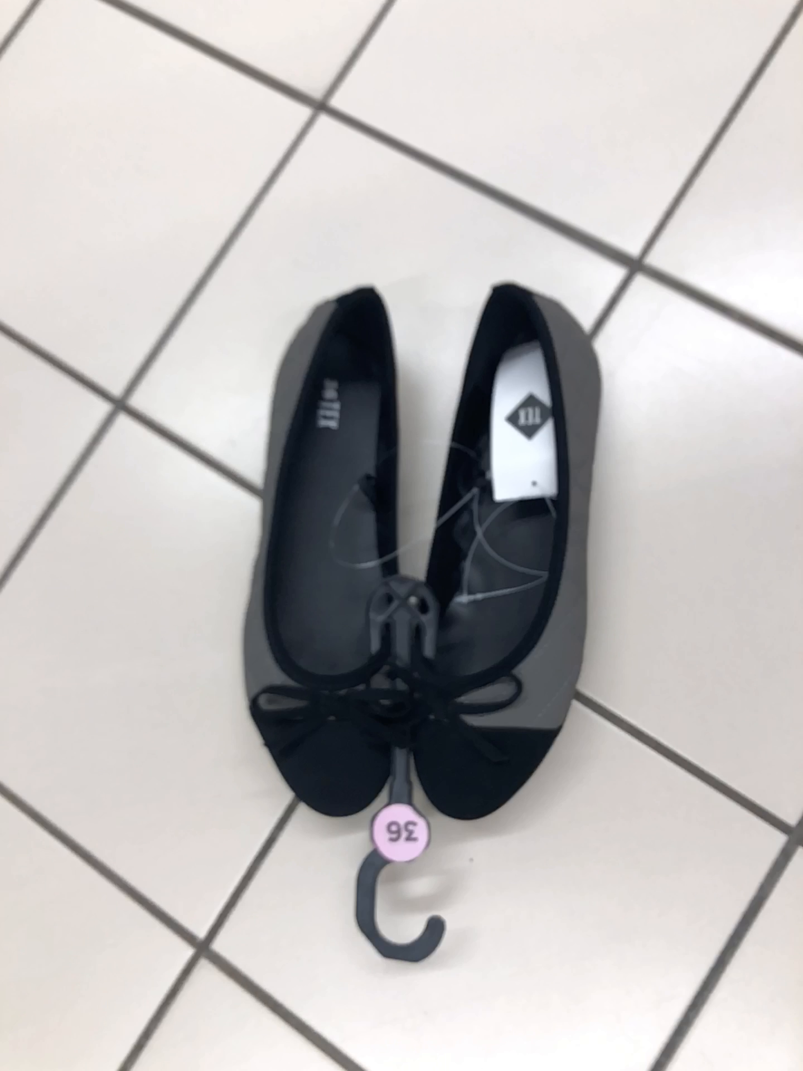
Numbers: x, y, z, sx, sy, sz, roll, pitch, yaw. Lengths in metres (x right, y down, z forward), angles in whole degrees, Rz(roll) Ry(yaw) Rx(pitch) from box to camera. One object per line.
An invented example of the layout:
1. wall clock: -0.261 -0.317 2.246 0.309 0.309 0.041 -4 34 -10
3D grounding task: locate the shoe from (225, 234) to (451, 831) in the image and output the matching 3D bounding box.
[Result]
1. shoe: -0.030 0.001 0.408 0.078 0.081 0.242 5 80 -12

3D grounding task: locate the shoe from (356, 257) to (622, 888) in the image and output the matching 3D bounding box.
1. shoe: 0.044 0.014 0.395 0.078 0.081 0.242 1 80 25
